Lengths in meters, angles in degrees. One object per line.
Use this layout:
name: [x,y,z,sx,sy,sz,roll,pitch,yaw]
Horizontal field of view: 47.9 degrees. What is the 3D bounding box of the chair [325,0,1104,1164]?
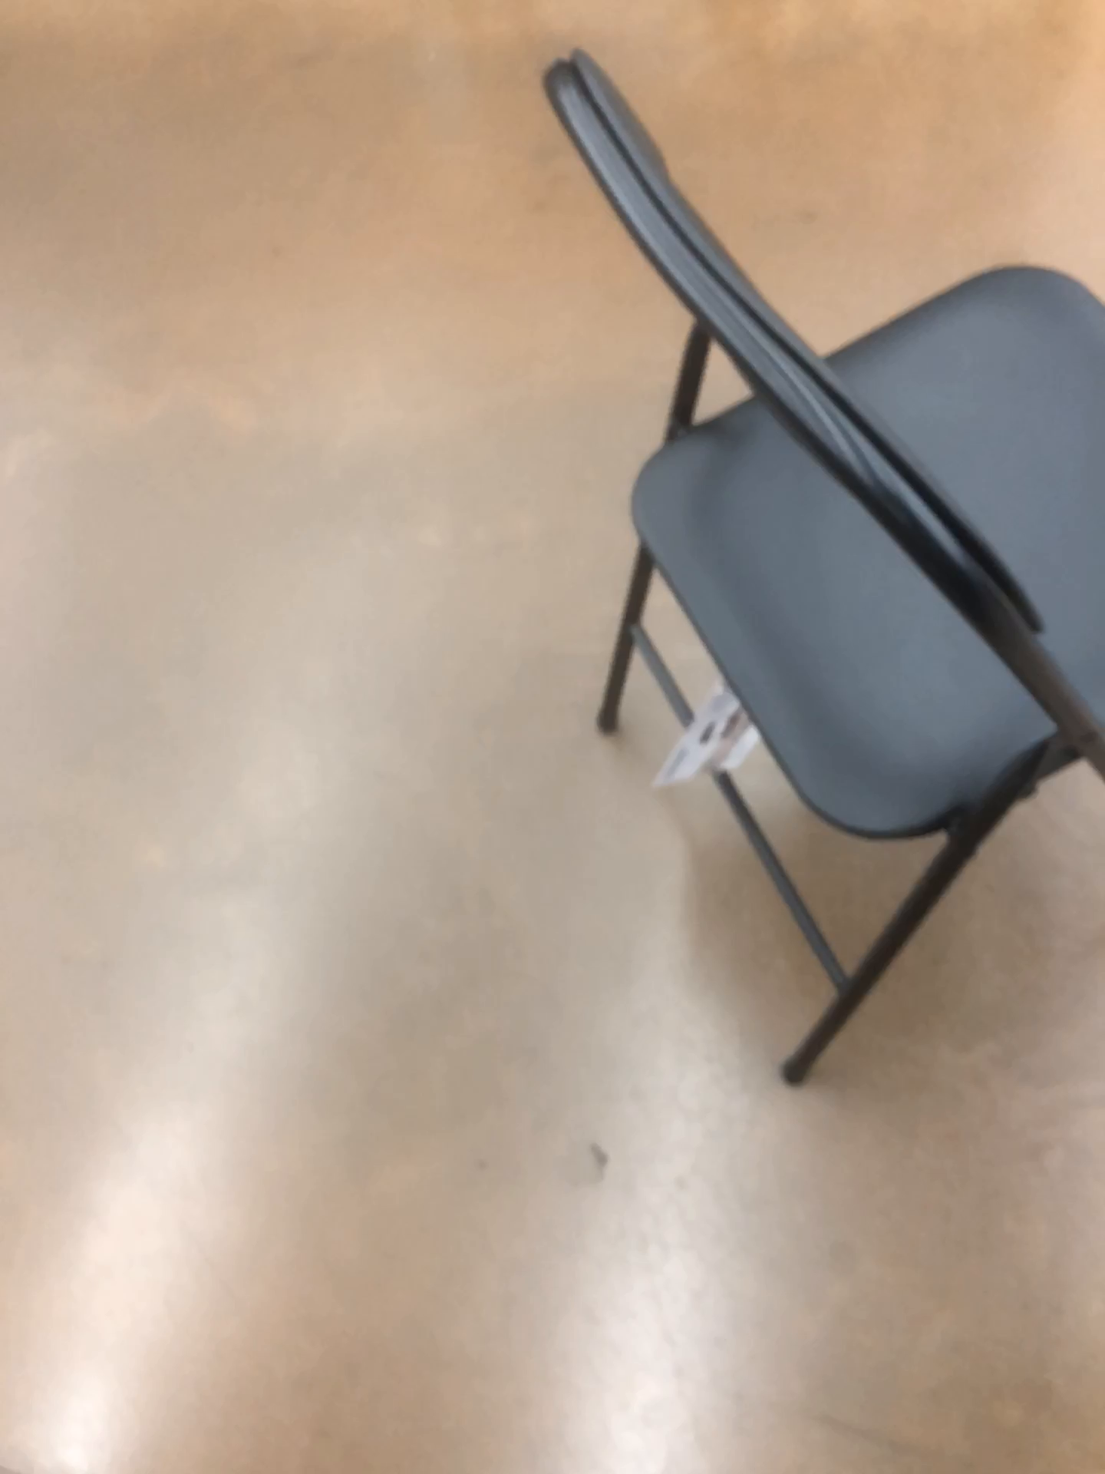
chair: [0.272,-0.122,0.870,0.490,0.759,0.521,-26,60,-2]
